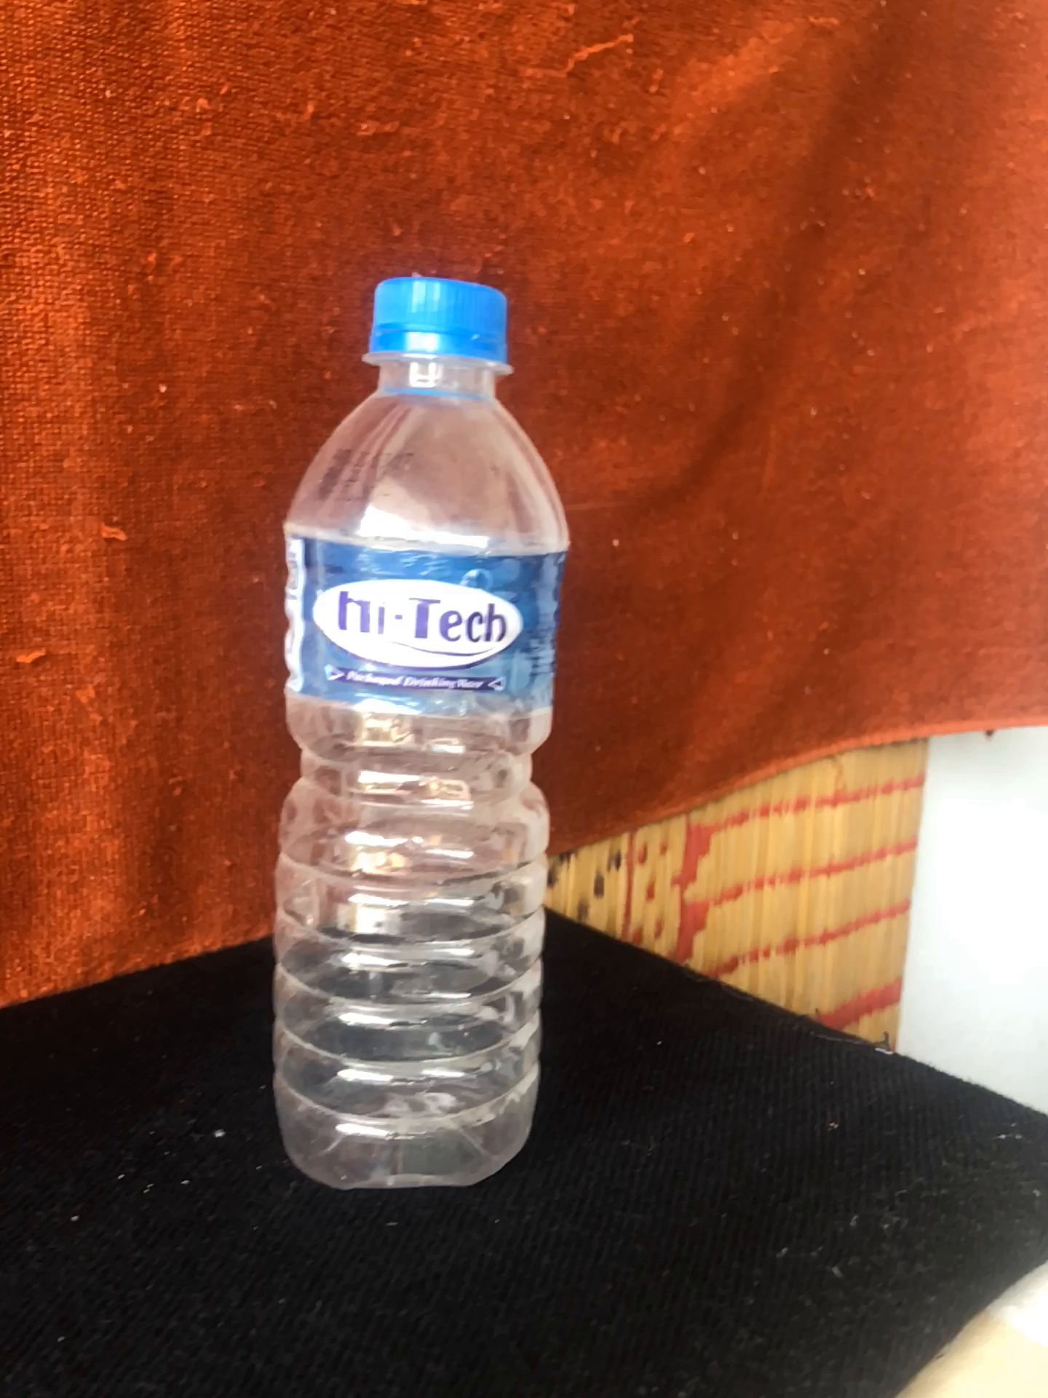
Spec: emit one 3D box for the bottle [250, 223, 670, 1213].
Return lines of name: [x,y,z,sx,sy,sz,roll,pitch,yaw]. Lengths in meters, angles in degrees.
bottle: [-0.016,0.005,0.258,0.070,0.189,0.070,4,11,-1]
